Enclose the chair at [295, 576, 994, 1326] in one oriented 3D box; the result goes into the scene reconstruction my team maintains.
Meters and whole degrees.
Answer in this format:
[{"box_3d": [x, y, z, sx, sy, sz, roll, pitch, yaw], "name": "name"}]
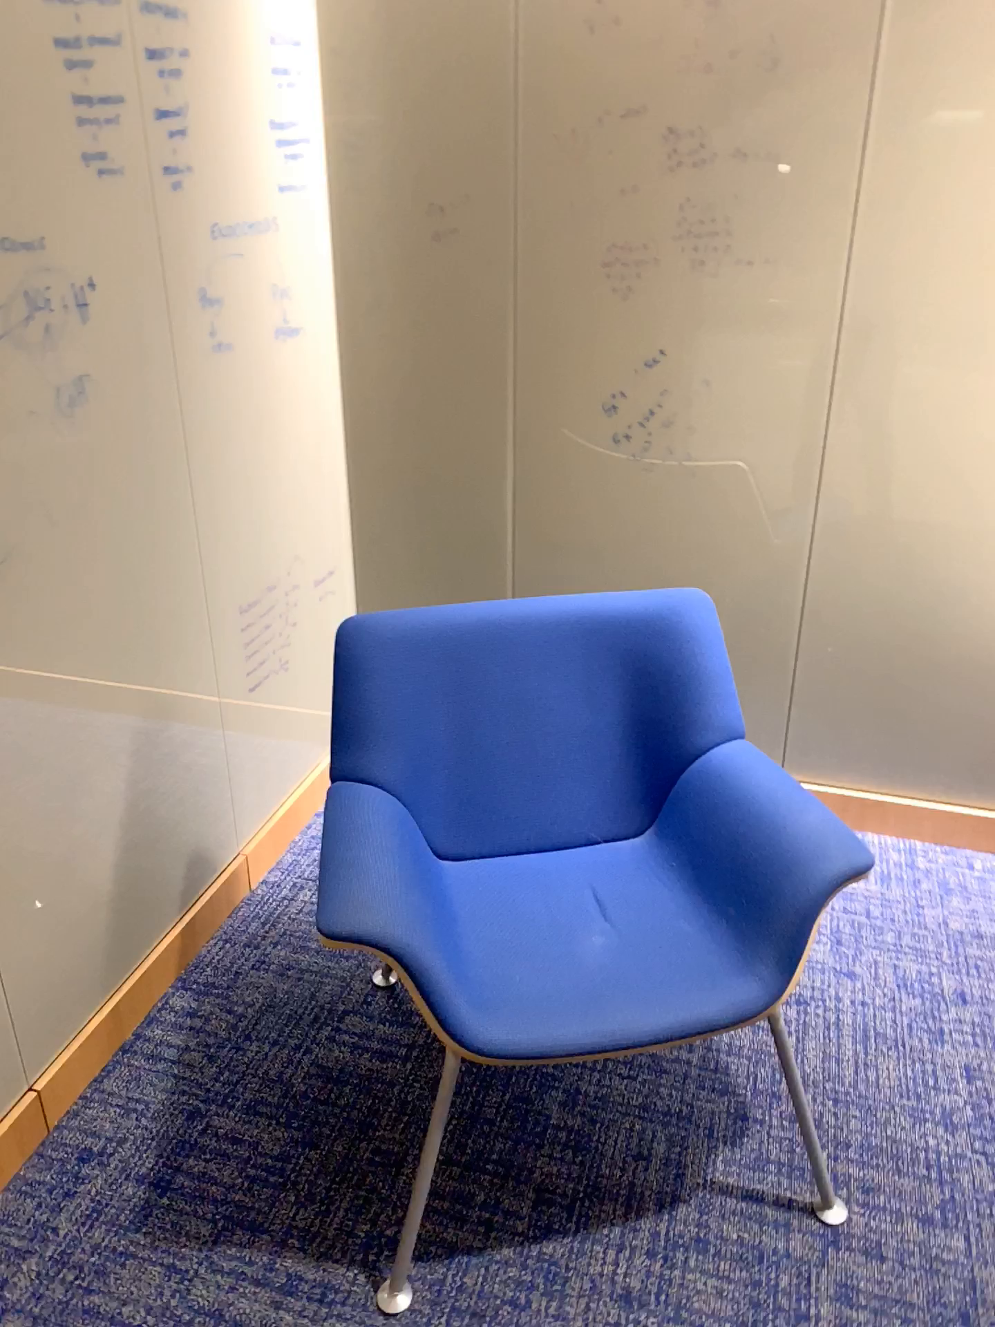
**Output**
[{"box_3d": [0.125, 0.356, 1.570, 0.788, 0.713, 0.743, -5, 25, -10], "name": "chair"}]
